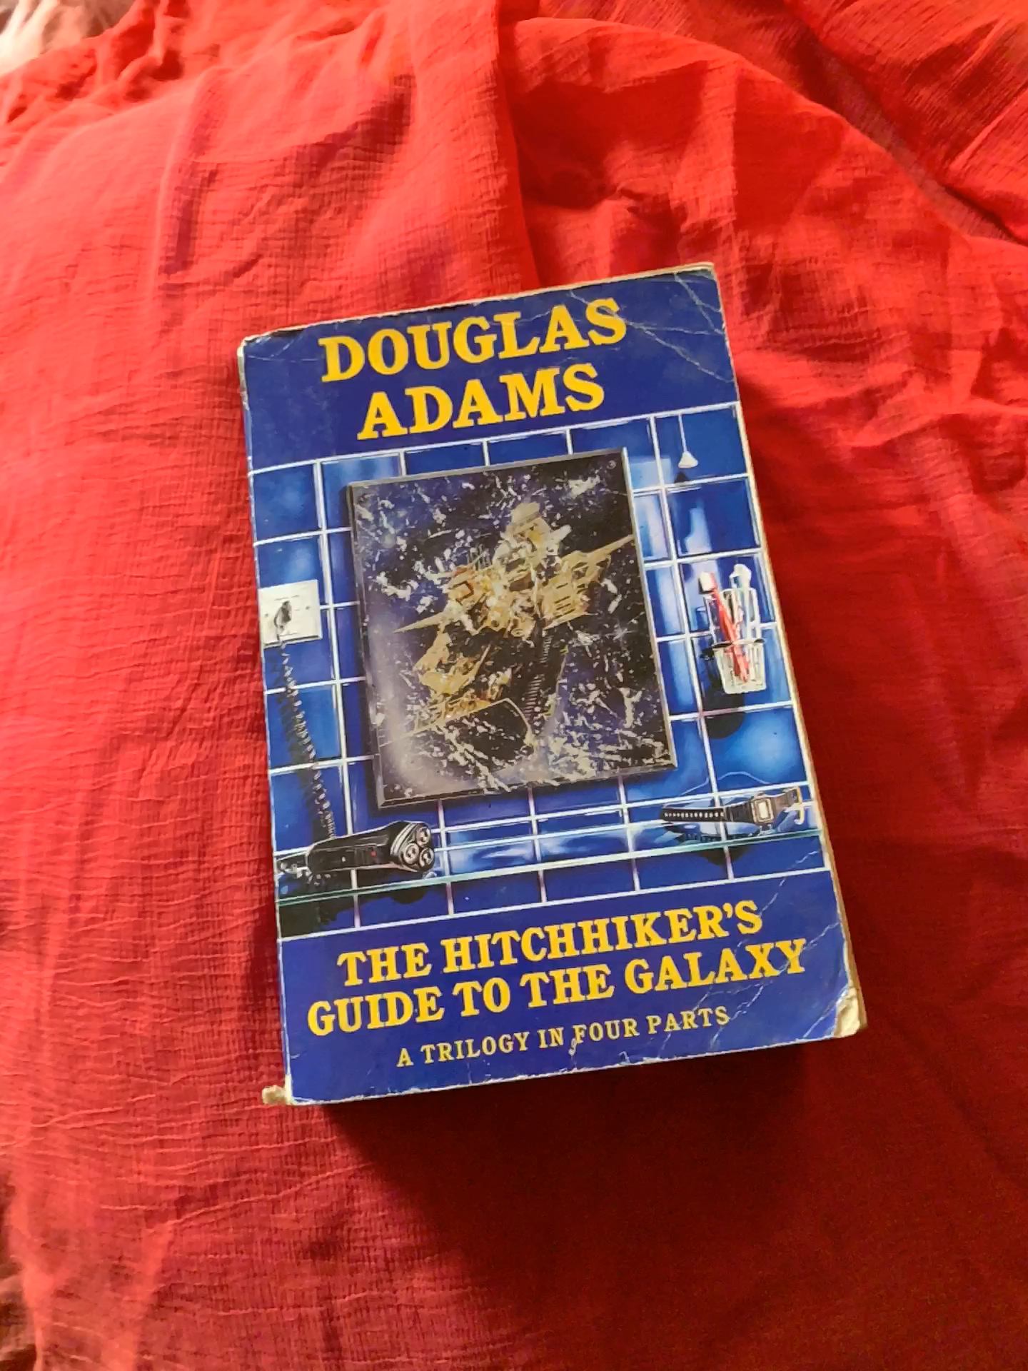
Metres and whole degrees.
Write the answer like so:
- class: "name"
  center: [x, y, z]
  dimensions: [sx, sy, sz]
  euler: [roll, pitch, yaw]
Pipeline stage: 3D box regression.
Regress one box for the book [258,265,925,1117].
- class: "book"
  center: [0.011, -0.002, 0.267]
  dimensions: [0.130, 0.045, 0.187]
  euler: [-7, 75, 2]
